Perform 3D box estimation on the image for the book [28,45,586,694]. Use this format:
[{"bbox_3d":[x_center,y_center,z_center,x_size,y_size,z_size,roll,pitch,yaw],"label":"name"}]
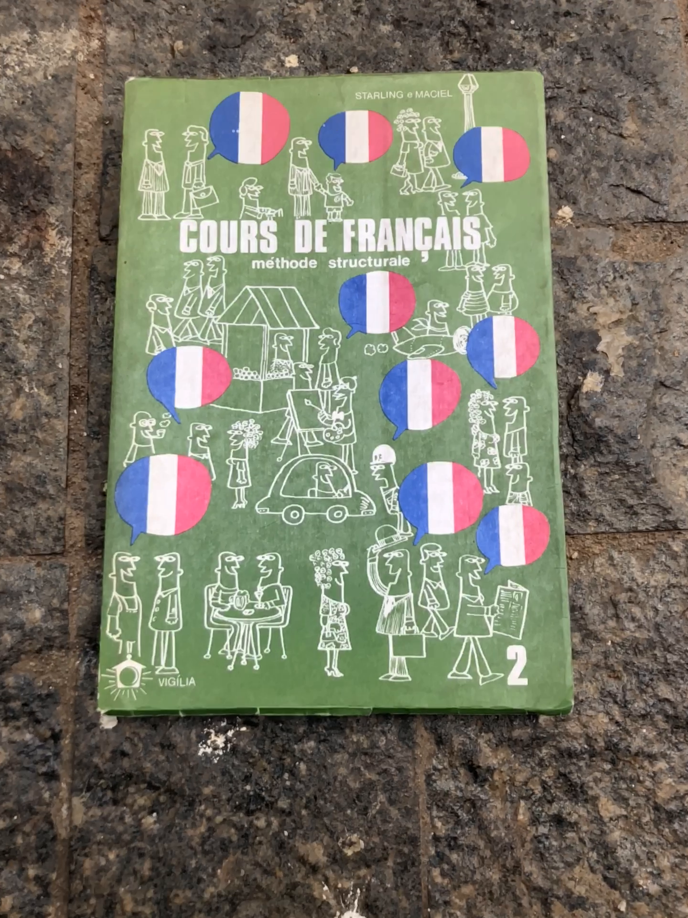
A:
[{"bbox_3d":[-0.013,-0.034,0.251,0.167,0.013,0.211,-1,81,1],"label":"book"}]
